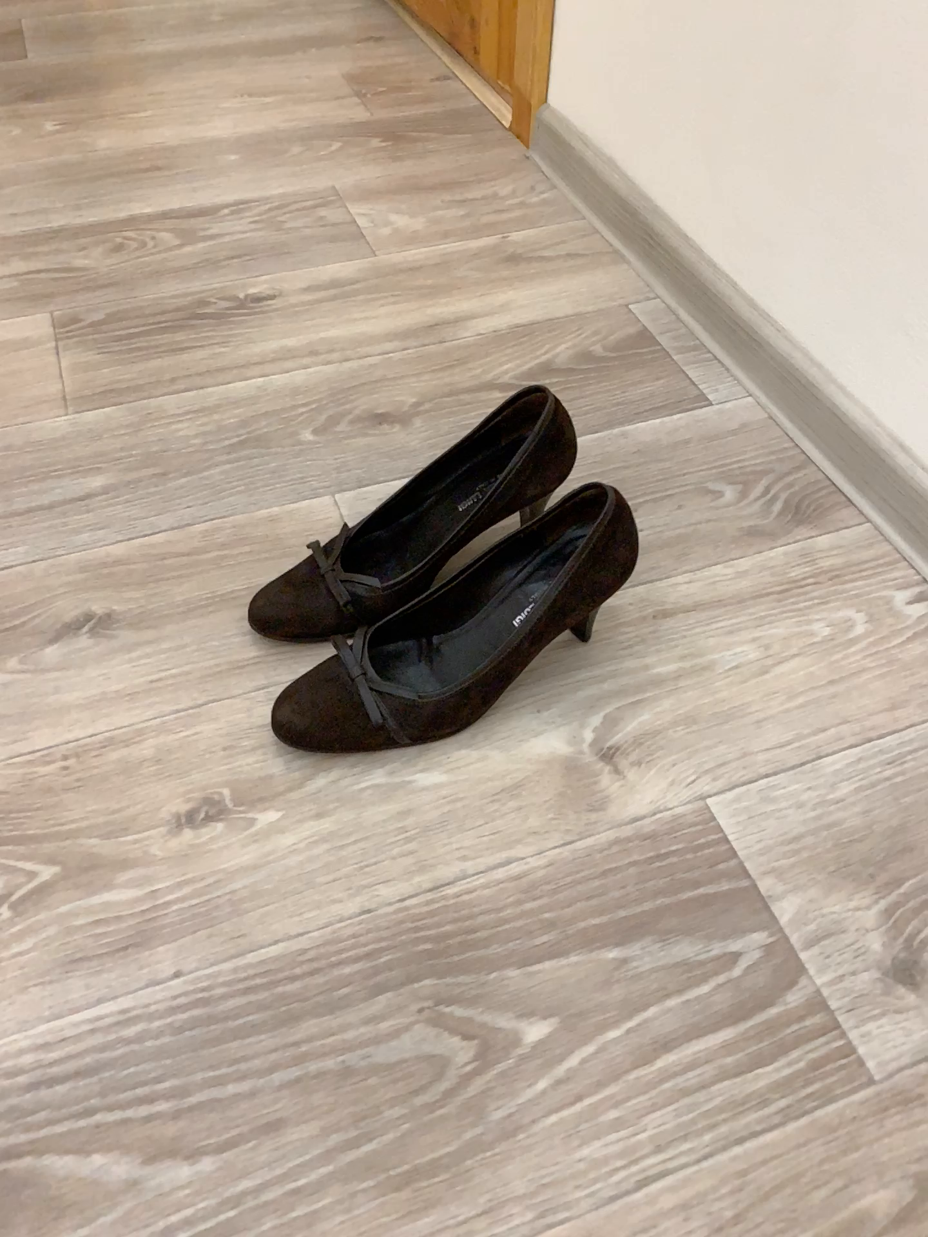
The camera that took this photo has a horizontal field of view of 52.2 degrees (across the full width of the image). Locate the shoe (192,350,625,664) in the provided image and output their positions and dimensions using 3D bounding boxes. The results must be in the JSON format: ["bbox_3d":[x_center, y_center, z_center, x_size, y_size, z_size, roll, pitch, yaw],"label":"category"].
[{"bbox_3d":[-0.032,-0.078,0.635,0.260,0.110,0.080,-21,54,-17],"label":"shoe"}]

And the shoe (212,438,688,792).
[{"bbox_3d":[-0.005,-0.006,0.577,0.260,0.110,0.080,-22,54,-17],"label":"shoe"}]
